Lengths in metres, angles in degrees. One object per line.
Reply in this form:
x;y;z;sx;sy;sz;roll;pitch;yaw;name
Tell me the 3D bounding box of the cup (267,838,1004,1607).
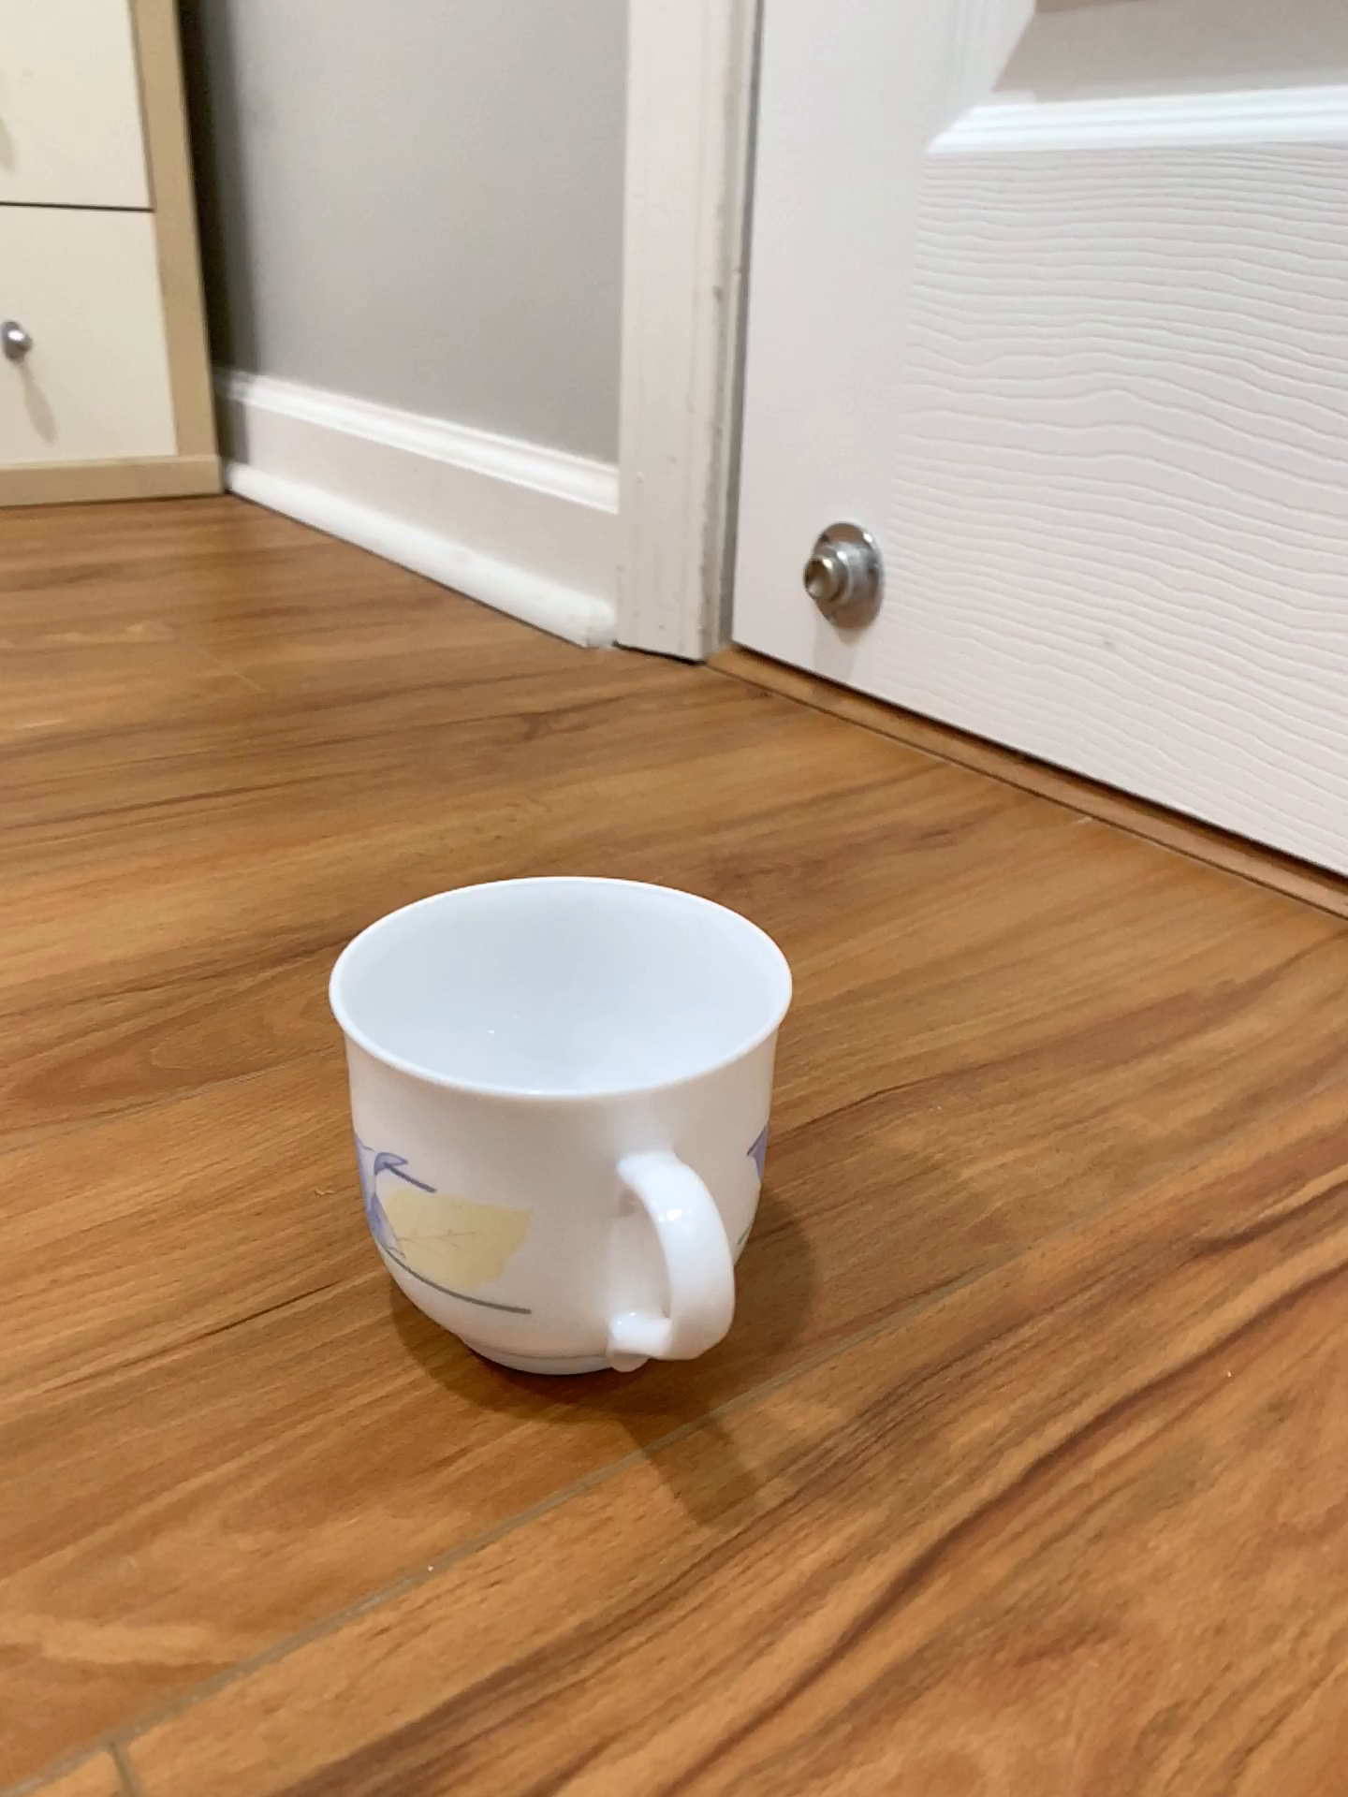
-0.013;0.044;0.244;0.084;0.063;0.104;-12;28;-27;cup
